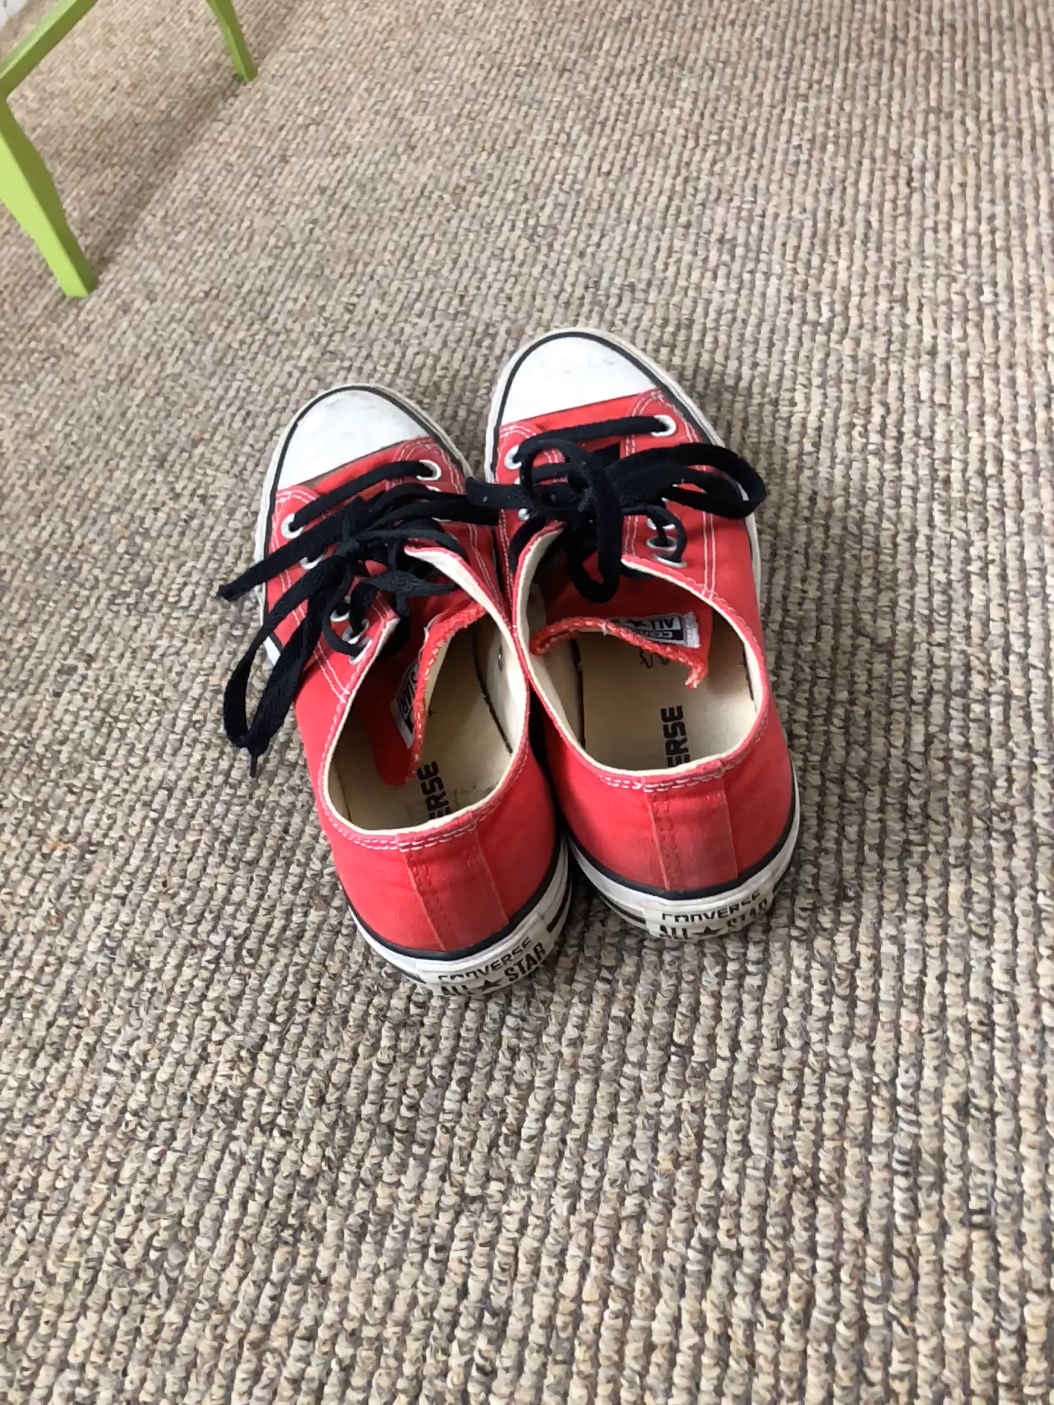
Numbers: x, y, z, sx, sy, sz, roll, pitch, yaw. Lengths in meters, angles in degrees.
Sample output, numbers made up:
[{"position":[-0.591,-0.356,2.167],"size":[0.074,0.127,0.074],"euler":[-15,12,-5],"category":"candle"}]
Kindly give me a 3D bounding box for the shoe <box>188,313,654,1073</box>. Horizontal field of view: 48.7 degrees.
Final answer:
[{"position":[-0.048,-0.019,0.432],"size":[0.102,0.096,0.263],"euler":[-18,51,-1],"category":"shoe"}]

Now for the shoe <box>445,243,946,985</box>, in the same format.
[{"position":[0.046,-0.047,0.421],"size":[0.102,0.088,0.260],"euler":[-14,51,2],"category":"shoe"}]
